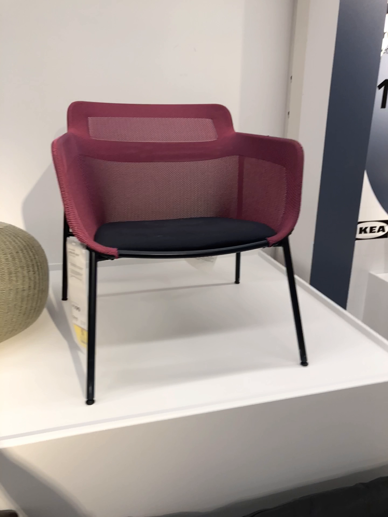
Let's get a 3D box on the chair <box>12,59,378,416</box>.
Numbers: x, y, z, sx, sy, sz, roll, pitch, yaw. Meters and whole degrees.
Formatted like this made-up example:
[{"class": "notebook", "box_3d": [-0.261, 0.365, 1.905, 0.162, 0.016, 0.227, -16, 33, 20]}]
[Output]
[{"class": "chair", "box_3d": [-0.109, -0.181, 1.438, 0.781, 0.747, 1.013, -5, 19, -17]}]
